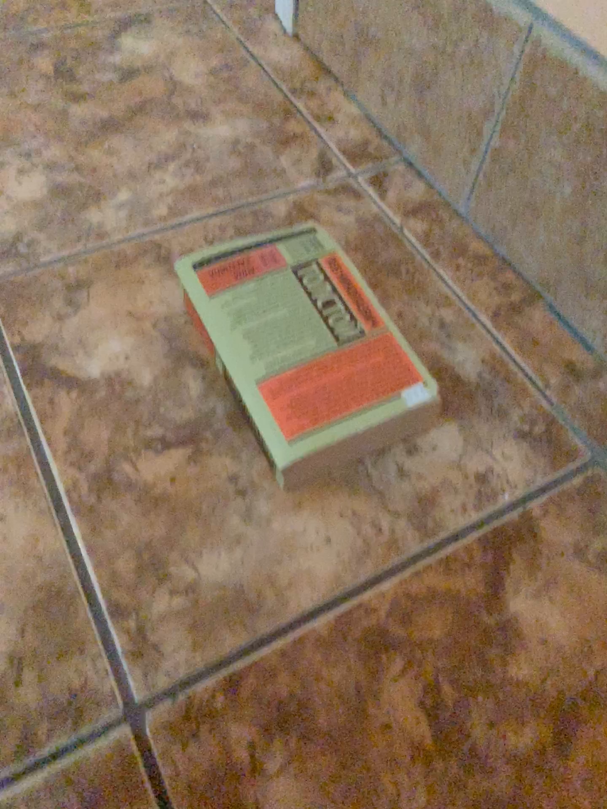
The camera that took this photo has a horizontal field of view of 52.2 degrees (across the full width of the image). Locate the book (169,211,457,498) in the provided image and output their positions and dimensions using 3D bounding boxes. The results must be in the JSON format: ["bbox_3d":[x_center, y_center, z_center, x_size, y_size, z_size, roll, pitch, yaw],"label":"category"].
[{"bbox_3d":[-0.001,-0.045,0.433,0.120,0.044,0.185,-22,62,-18],"label":"book"}]
